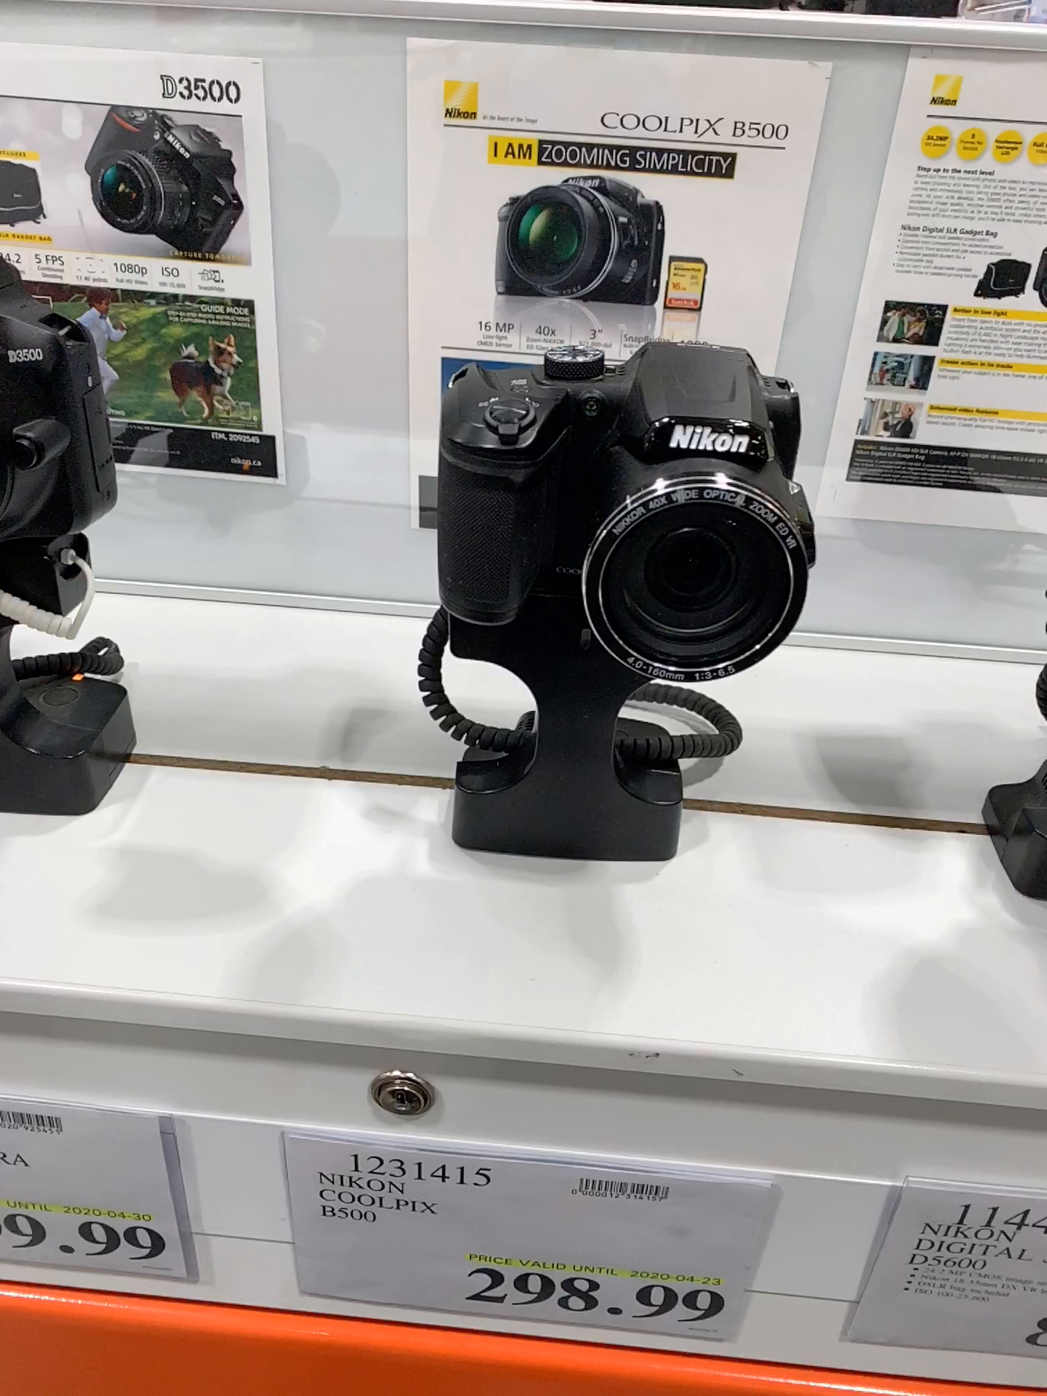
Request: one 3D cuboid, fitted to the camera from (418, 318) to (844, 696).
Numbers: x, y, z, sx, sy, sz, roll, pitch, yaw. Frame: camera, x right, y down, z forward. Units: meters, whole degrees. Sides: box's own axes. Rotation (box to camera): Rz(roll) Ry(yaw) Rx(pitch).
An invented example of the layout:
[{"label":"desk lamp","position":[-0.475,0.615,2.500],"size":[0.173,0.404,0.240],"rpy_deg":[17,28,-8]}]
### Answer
[{"label":"camera","position":[0.028,-0.060,0.332],"size":[0.110,0.089,0.071],"rpy_deg":[3,32,1]}]
